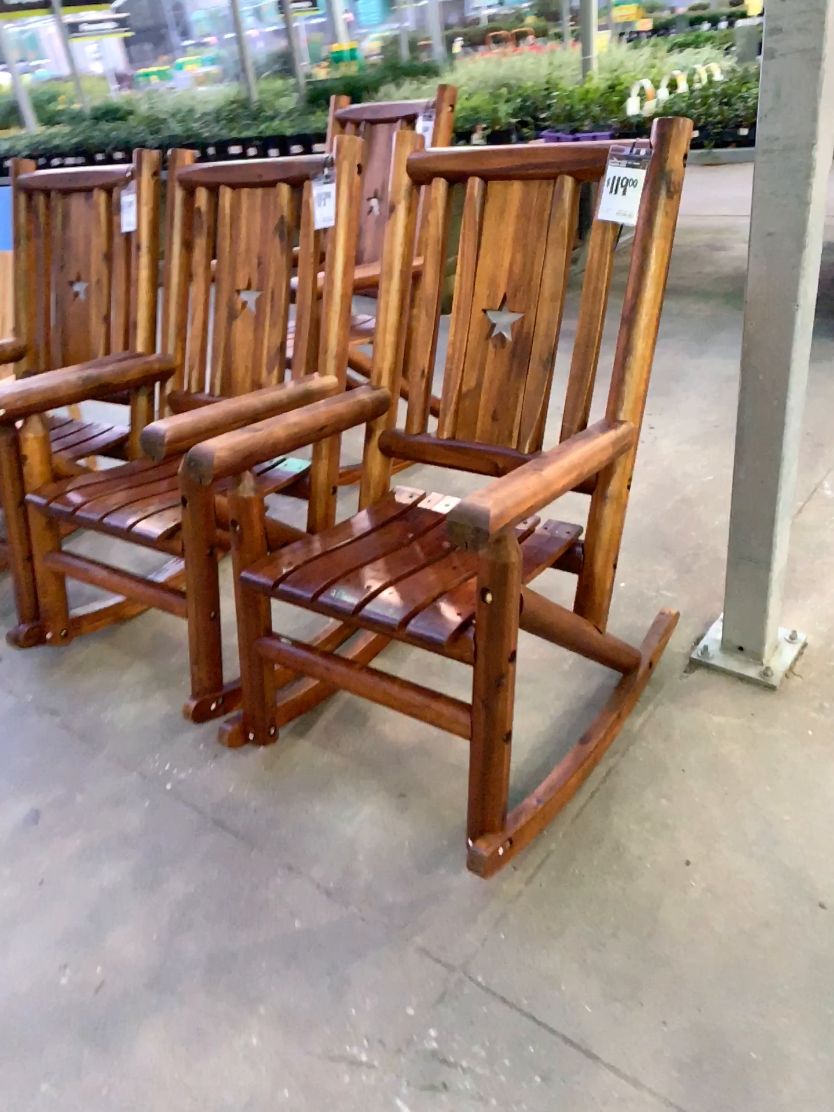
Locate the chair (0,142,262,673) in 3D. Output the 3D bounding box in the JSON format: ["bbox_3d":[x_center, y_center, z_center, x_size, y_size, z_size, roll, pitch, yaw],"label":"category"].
[{"bbox_3d":[-1.183,-0.496,2.540,0.675,1.157,1.020,16,39,34],"label":"chair"}]

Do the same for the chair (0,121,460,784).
[{"bbox_3d":[-0.513,-0.317,2.076,0.675,1.157,1.020,16,39,34],"label":"chair"}]

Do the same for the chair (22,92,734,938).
[{"bbox_3d":[0.070,-0.161,1.672,0.674,1.157,1.020,16,39,33],"label":"chair"}]
